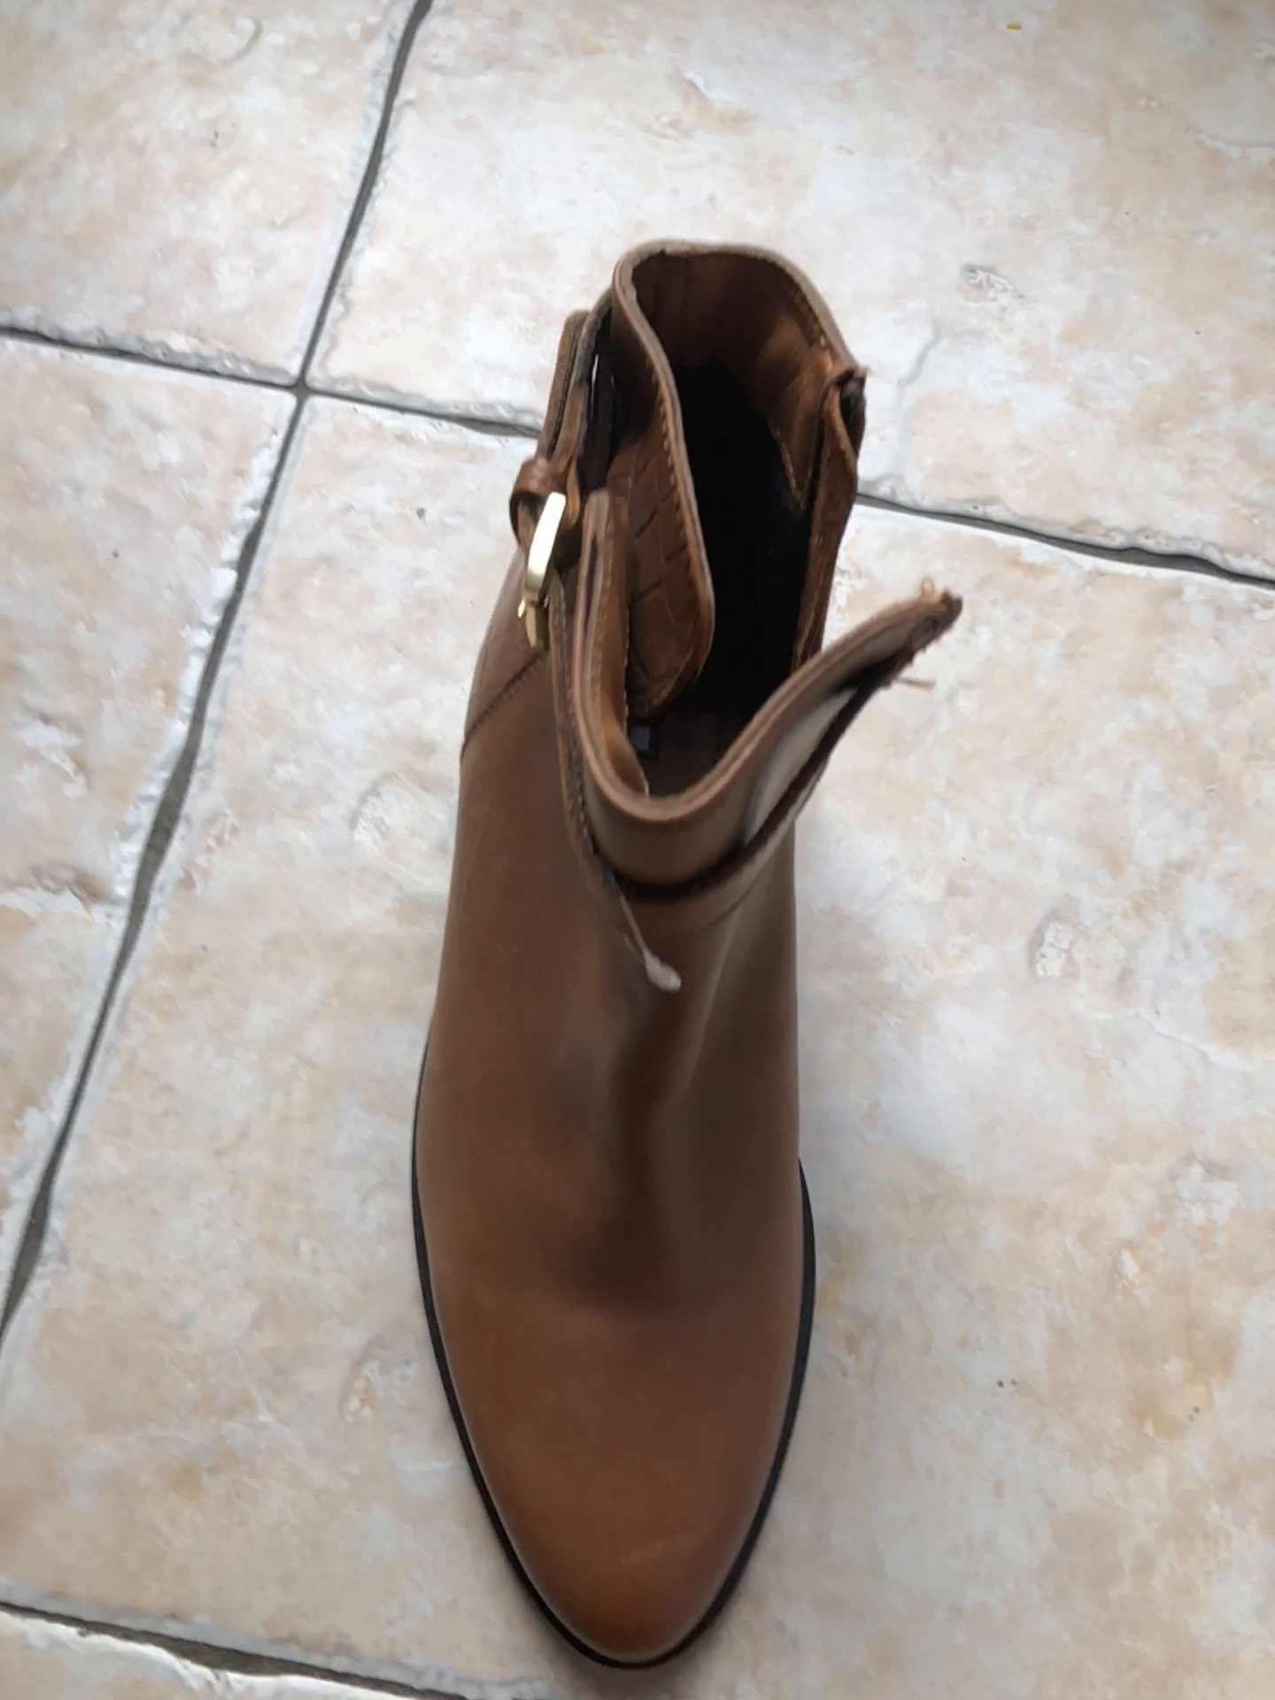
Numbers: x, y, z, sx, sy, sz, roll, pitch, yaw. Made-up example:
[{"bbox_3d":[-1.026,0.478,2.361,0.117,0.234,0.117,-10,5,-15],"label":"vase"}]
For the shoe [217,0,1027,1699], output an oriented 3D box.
[{"bbox_3d":[0.003,0.016,0.288,0.090,0.180,0.301,3,72,-1],"label":"shoe"}]
